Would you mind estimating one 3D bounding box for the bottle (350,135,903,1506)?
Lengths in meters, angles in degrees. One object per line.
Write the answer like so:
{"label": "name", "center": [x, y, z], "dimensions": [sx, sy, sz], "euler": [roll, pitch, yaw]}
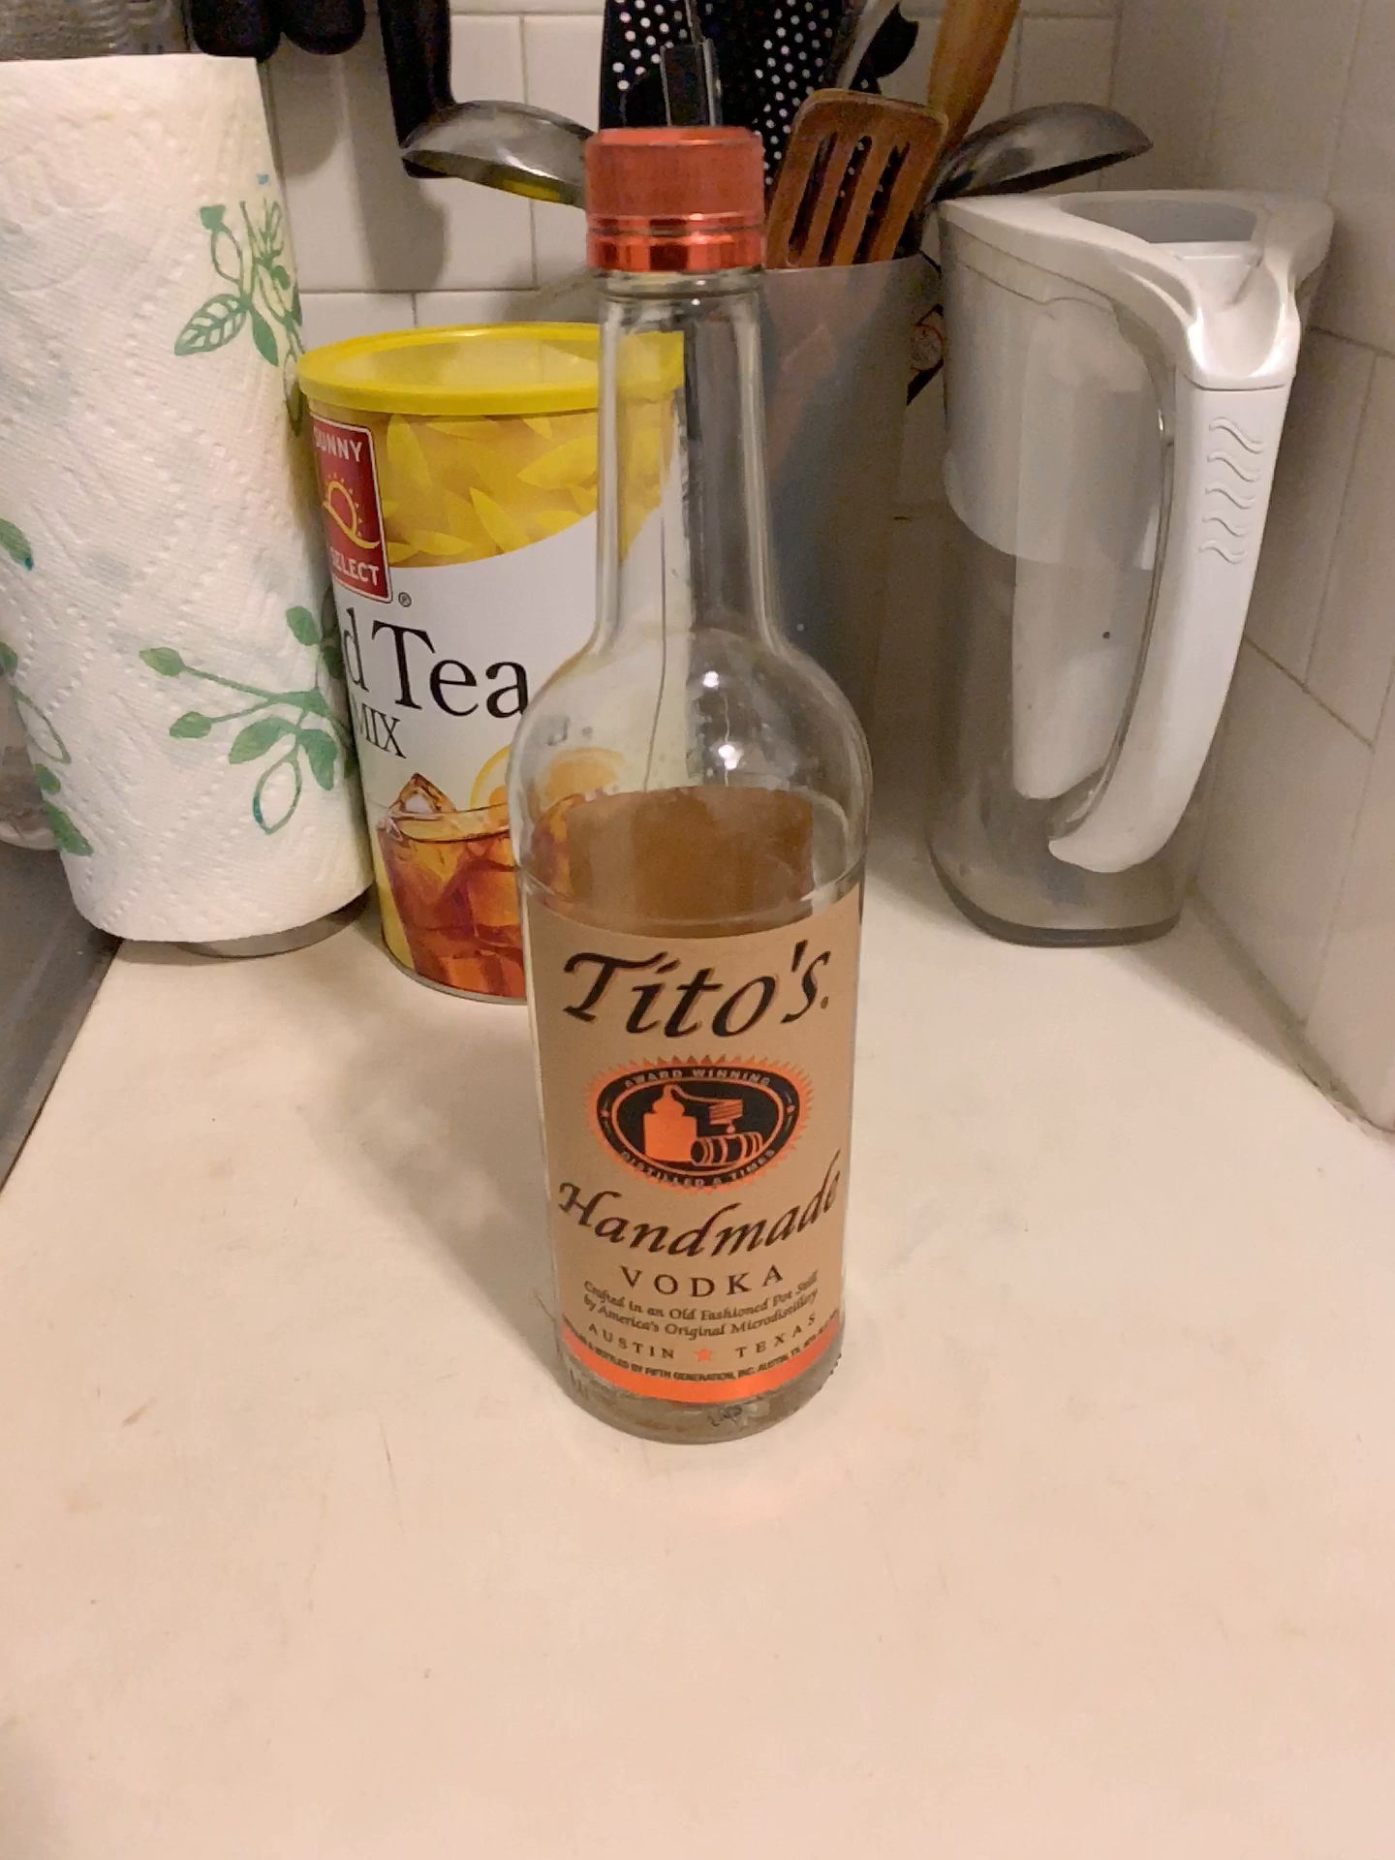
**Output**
{"label": "bottle", "center": [-0.009, -0.008, 0.313], "dimensions": [0.080, 0.288, 0.080], "euler": [0, 30, 0]}
